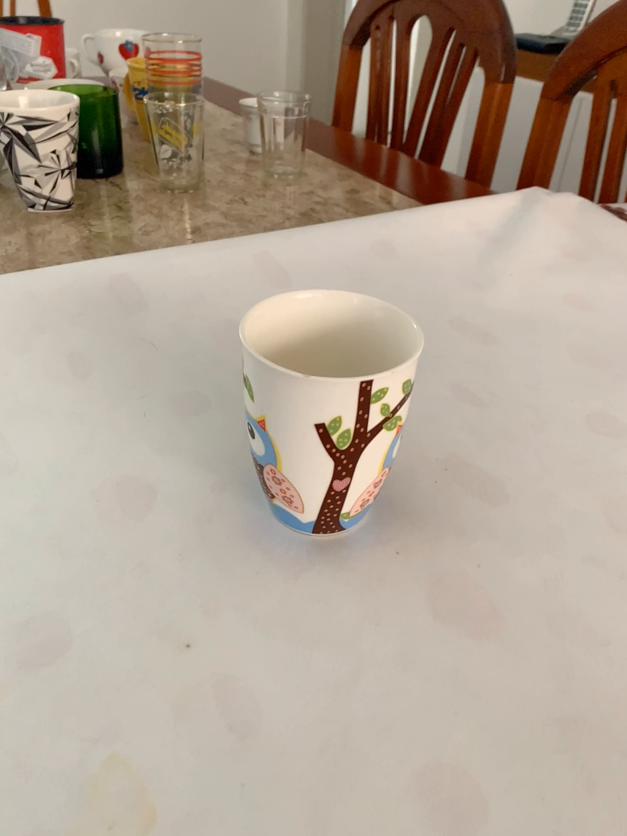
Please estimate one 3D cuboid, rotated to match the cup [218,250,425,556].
[{"bbox_3d":[0.006,-0.012,0.322,0.080,0.099,0.111,6,36,4],"label":"cup"}]
